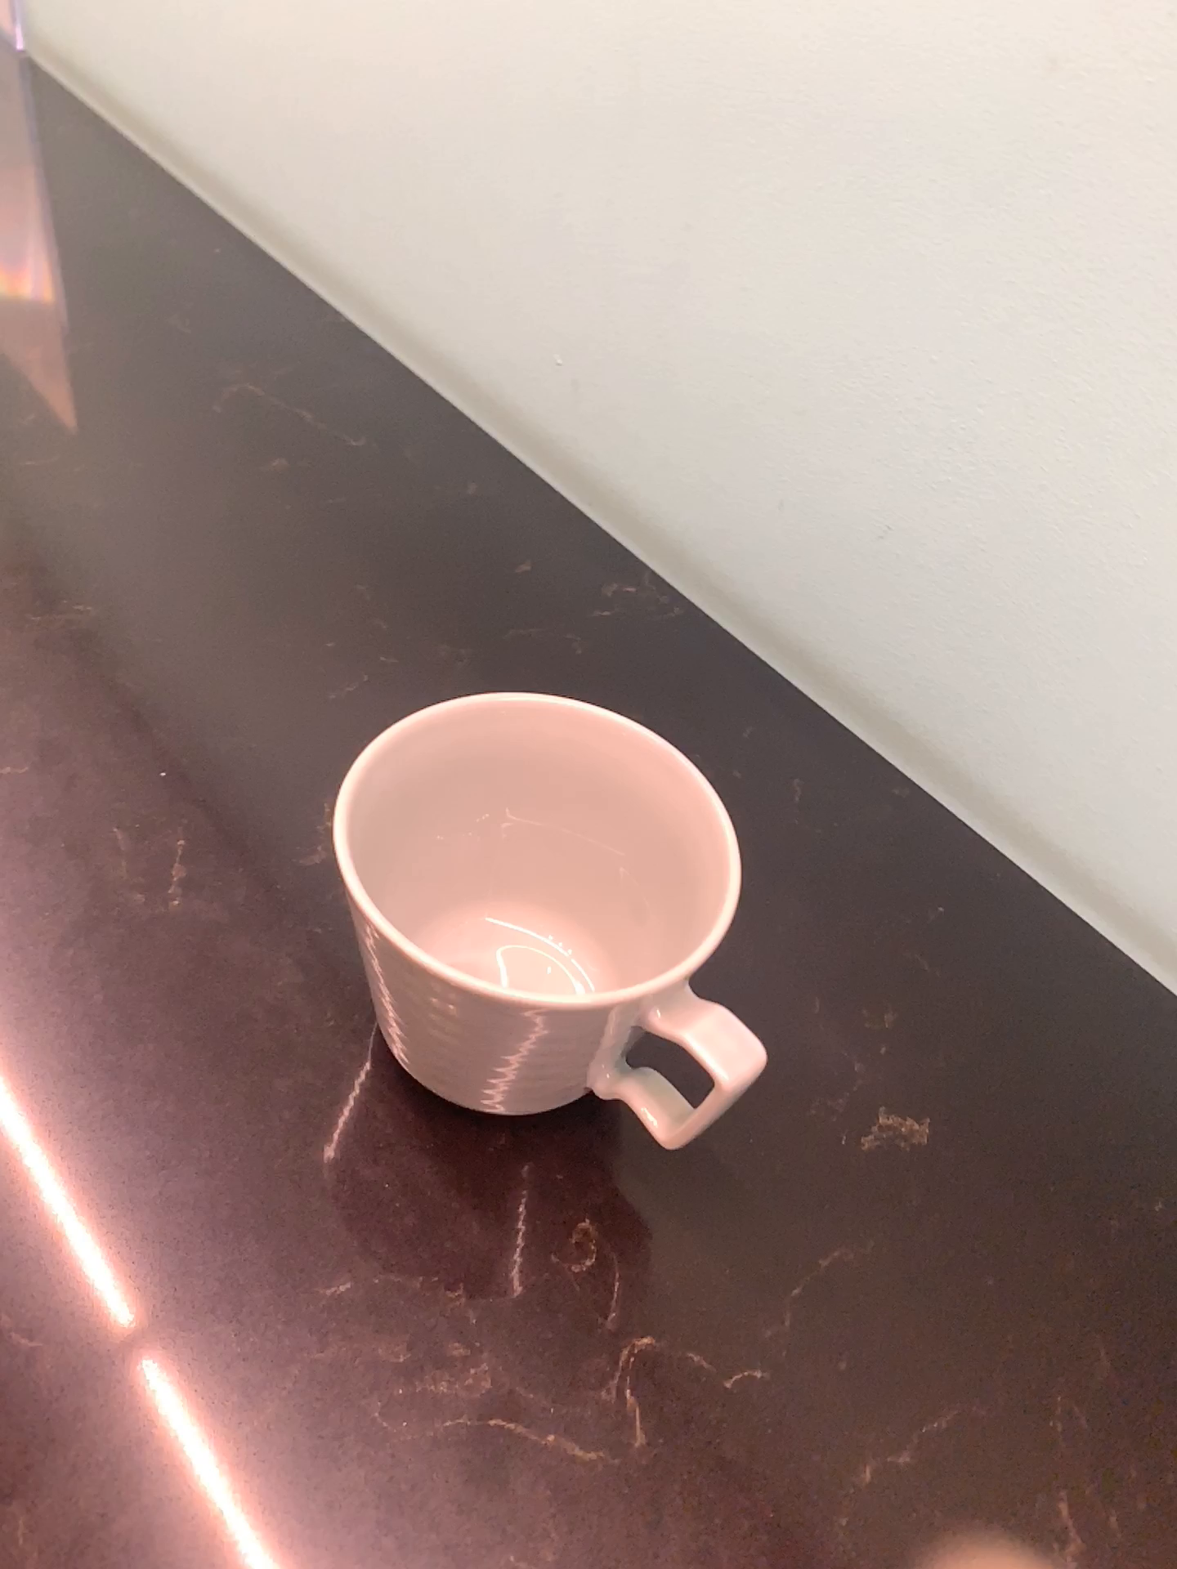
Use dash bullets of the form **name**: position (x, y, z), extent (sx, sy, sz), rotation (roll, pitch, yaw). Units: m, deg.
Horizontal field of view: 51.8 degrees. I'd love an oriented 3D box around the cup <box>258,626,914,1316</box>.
- **cup**: position (-0.008, 0.041, 0.321), extent (0.100, 0.080, 0.130), rotation (-27, 58, -32)
